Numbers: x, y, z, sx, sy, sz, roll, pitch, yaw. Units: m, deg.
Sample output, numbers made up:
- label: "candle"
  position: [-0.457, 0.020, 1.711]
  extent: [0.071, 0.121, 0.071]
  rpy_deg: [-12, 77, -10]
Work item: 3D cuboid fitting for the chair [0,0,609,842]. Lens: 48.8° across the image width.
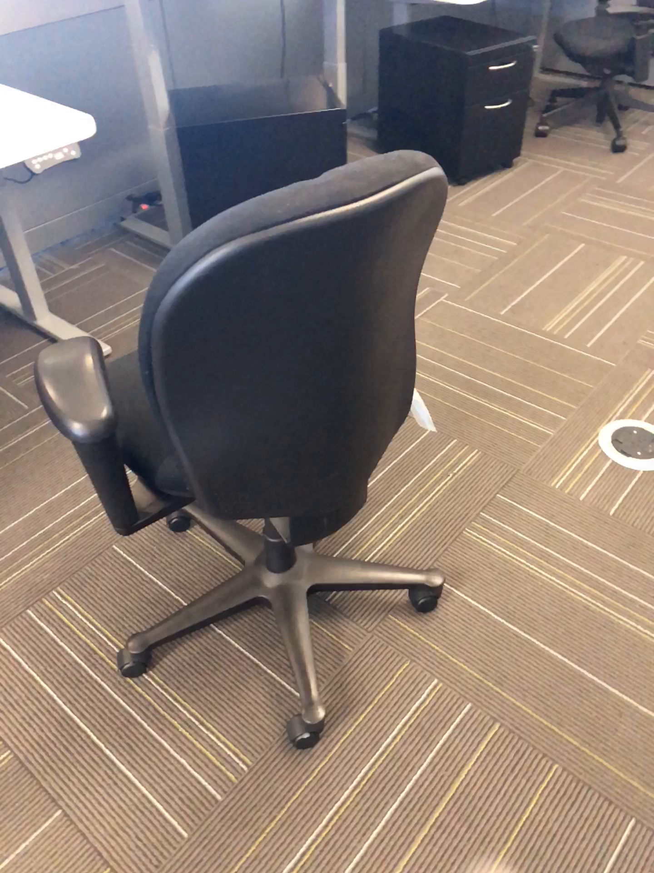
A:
- label: "chair"
  position: [-0.170, -0.058, 1.157]
  extent: [0.700, 0.995, 0.683]
  rpy_deg: [-24, 45, -22]
